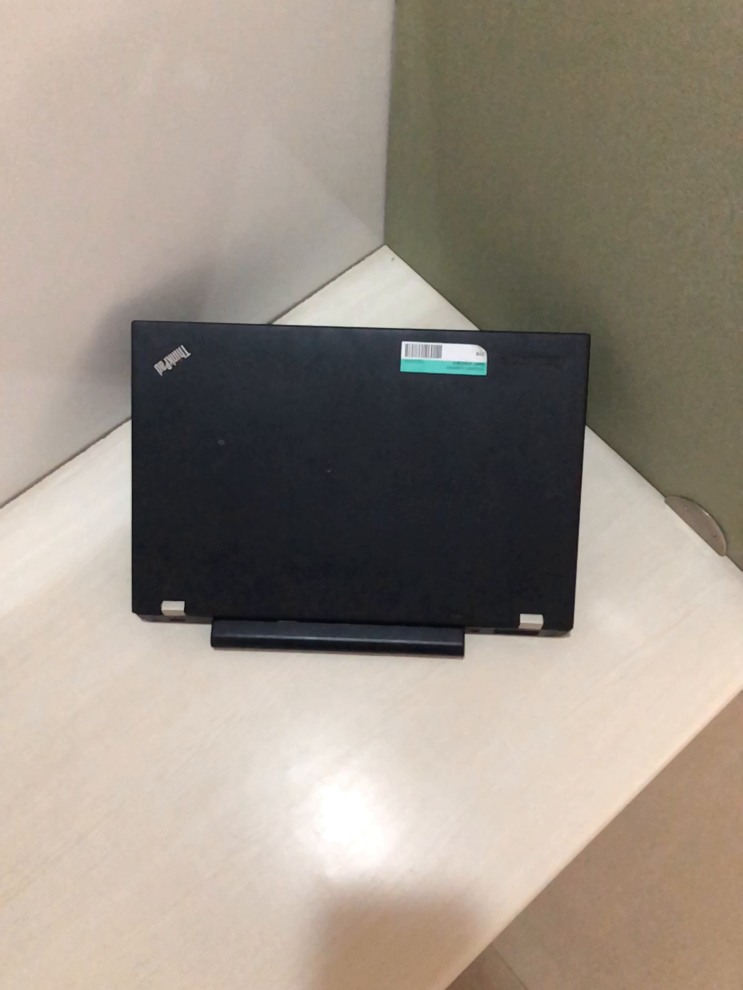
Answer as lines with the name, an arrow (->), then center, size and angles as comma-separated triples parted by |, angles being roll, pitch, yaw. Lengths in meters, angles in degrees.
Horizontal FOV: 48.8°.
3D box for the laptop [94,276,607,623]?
laptop -> -0.011, -0.035, 0.671 | 0.354, 0.140, 0.233 | 2, 68, 2
